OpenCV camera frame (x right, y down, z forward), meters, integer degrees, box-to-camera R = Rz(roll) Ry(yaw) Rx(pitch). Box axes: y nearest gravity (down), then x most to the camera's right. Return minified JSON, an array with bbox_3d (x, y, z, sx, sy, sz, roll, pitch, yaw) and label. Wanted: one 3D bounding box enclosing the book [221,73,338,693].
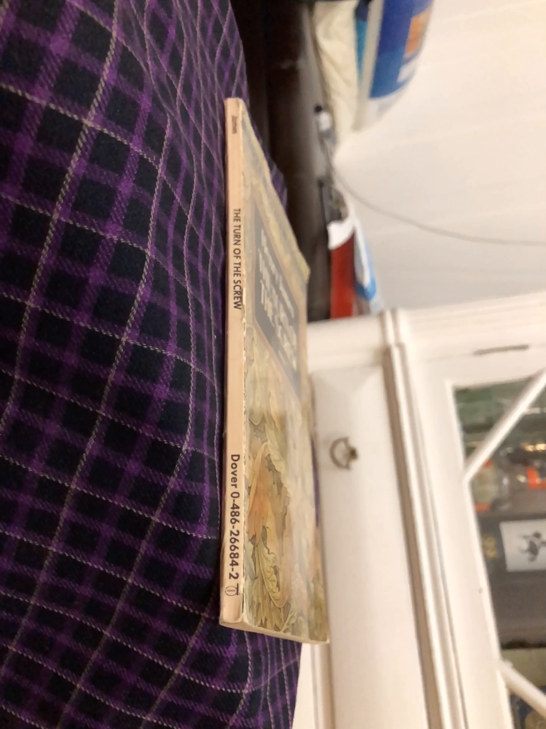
[{"bbox_3d":[0.004,0.011,0.262,0.140,0.010,0.220,62,23,-62],"label":"book"}]
